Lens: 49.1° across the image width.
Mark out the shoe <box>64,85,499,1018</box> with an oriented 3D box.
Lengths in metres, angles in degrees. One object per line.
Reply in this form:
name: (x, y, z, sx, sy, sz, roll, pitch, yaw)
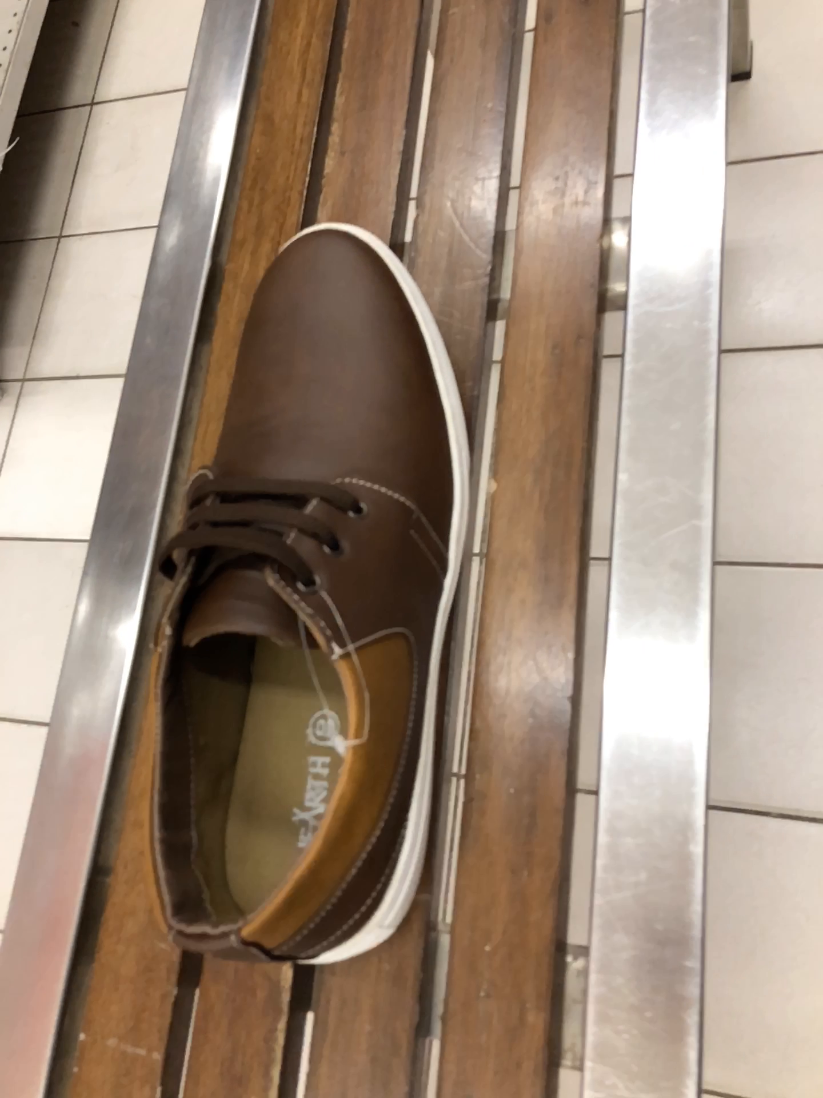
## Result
shoe: (-0.035, -0.009, 0.341, 0.100, 0.080, 0.310, -1, 74, 20)
